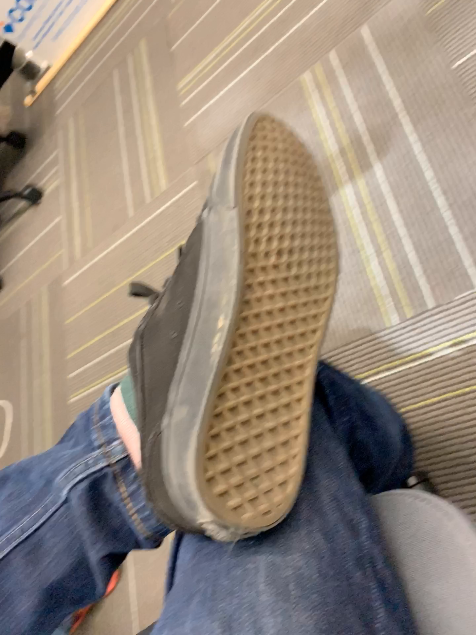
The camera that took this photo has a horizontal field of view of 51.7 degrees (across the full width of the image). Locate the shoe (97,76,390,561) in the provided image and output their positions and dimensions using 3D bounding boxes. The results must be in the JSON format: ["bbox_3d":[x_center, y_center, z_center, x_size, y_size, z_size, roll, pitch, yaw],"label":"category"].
[{"bbox_3d":[-0.002,0.008,0.338,0.135,0.119,0.260,-19,65,46],"label":"shoe"}]
